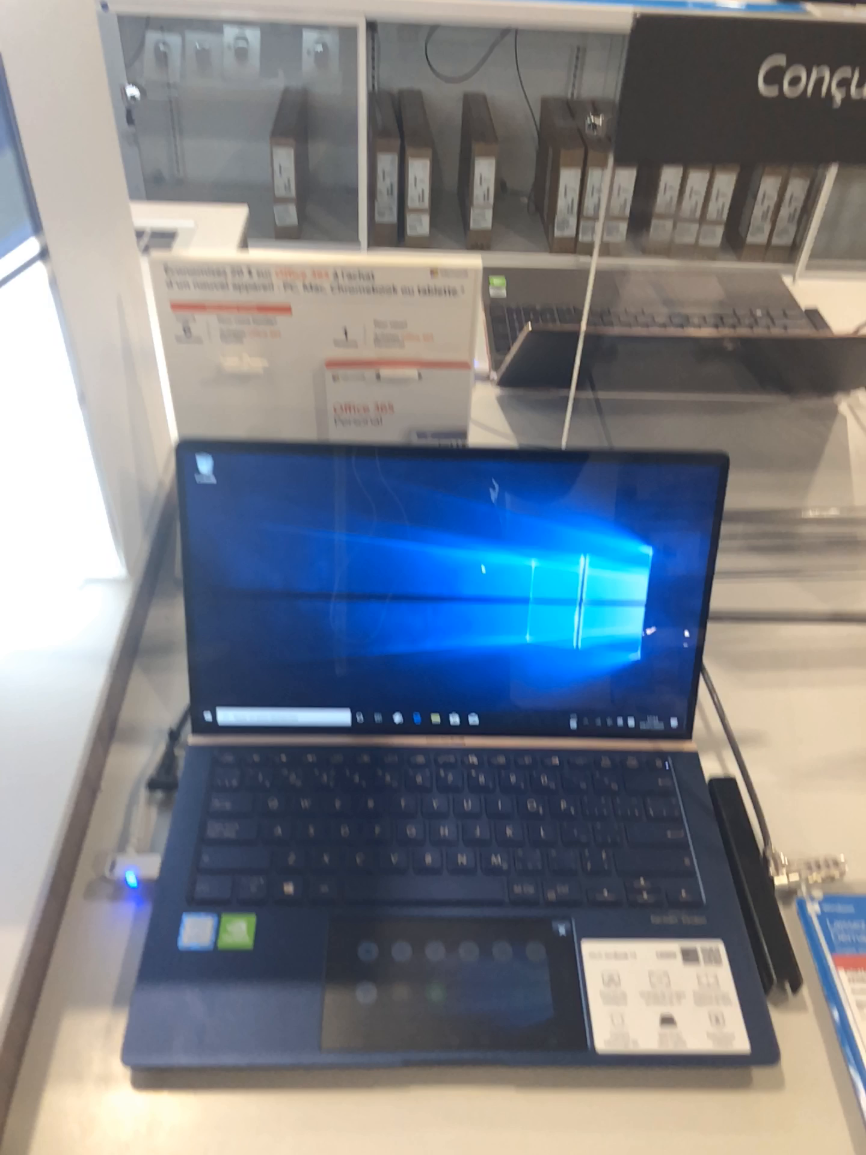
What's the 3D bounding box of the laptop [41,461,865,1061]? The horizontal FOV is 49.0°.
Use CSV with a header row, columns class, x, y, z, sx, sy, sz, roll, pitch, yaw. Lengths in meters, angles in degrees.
class,x,y,z,sx,sy,sz,roll,pitch,yaw
laptop,0.012,0.084,0.491,0.308,0.179,0.254,1,40,-3
